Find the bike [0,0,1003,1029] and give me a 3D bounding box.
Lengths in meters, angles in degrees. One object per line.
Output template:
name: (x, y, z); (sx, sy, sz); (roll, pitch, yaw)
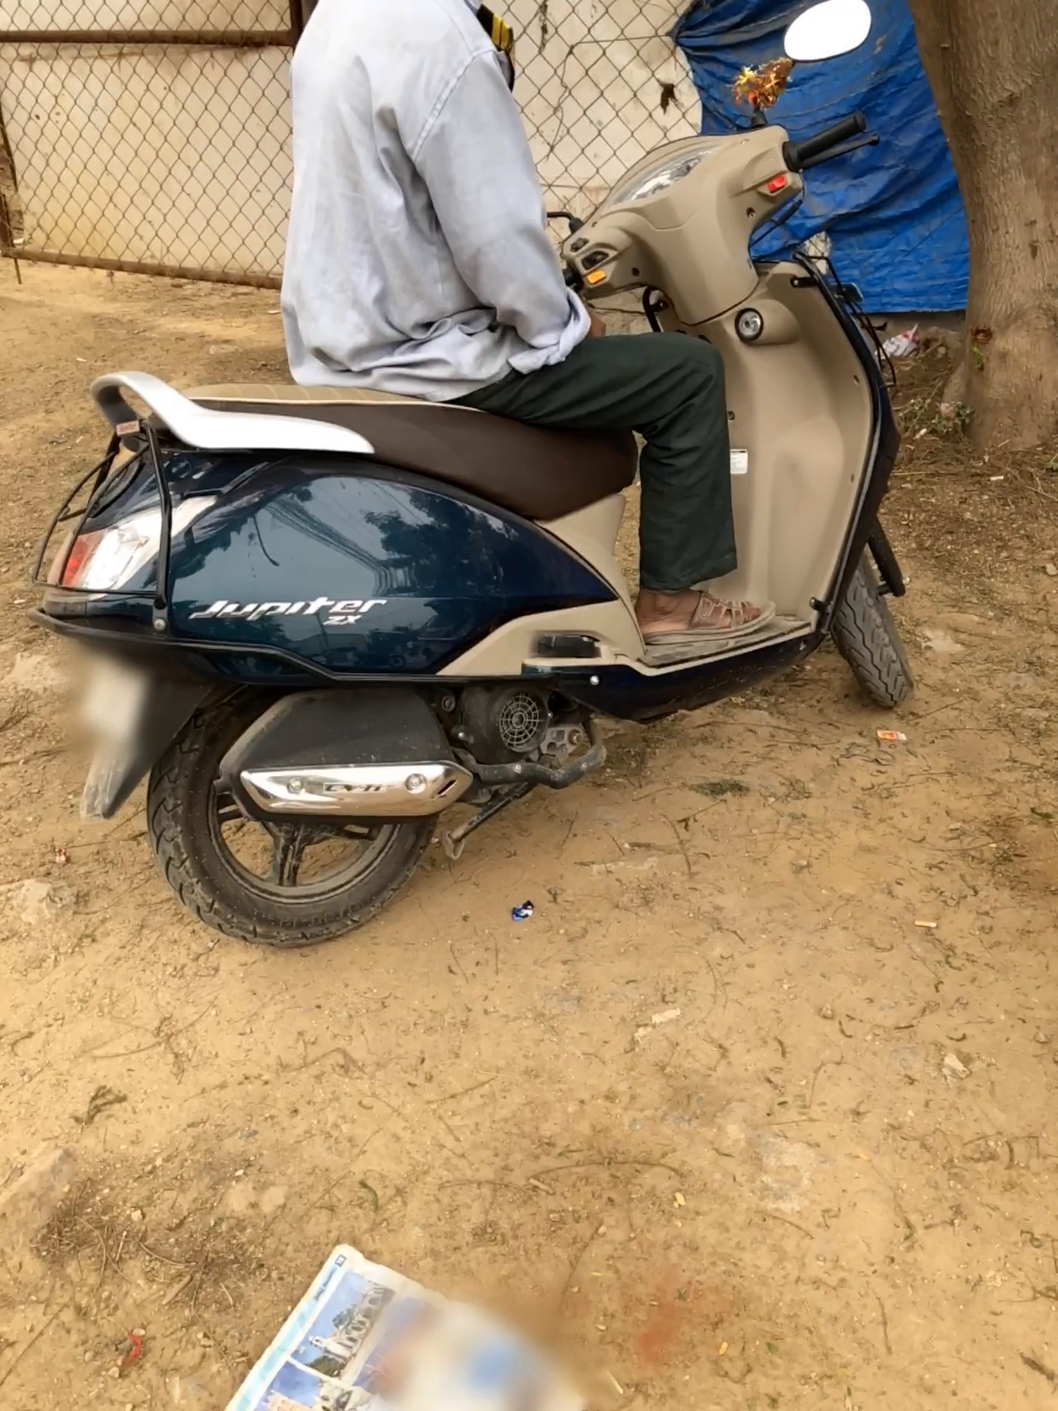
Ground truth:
bike: (-0.062, -0.493, 1.852); (1.346, 1.120, 0.636); (-25, 38, -27)
